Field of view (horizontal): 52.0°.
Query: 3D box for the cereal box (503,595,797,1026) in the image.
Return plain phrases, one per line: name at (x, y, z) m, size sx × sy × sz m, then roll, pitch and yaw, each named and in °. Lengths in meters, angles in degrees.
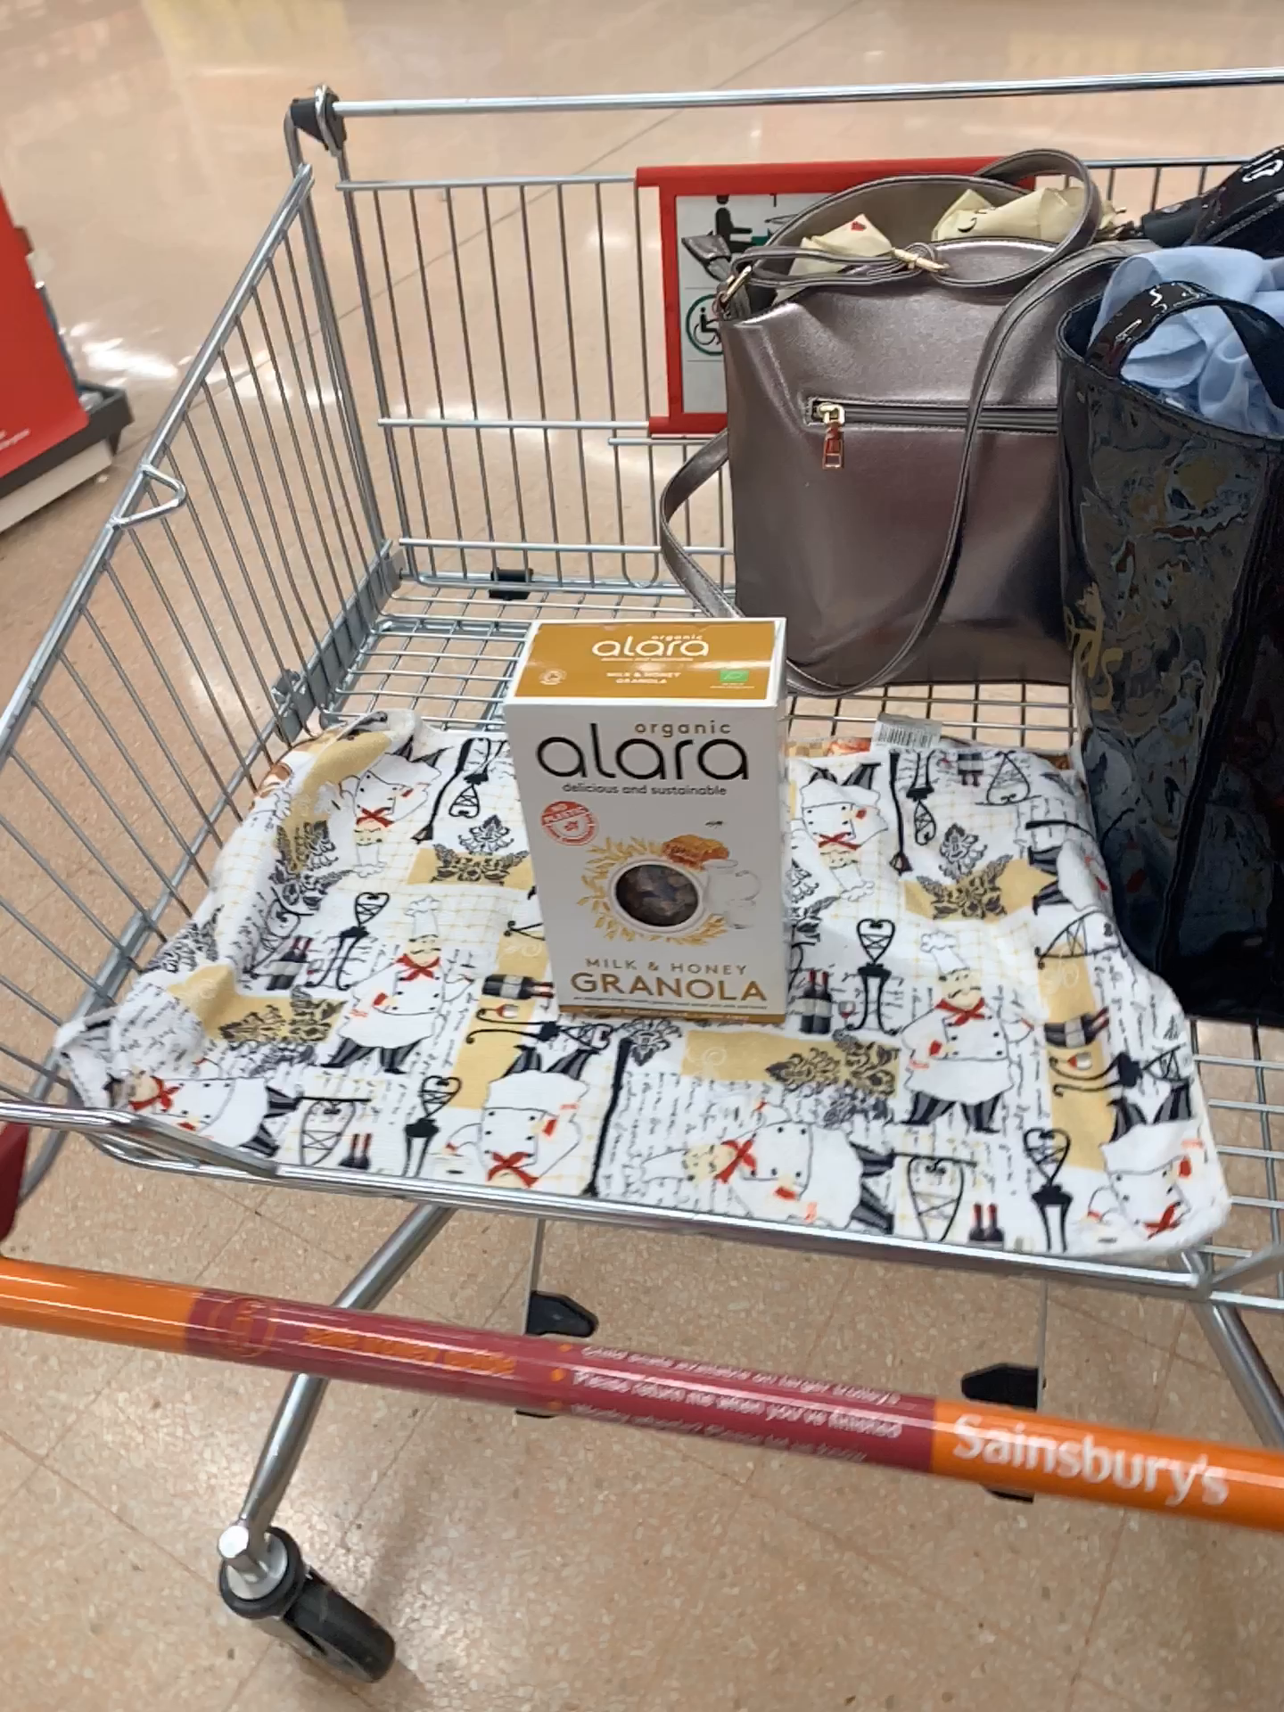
cereal box at (0.013, -0.018, 0.638) m, size 0.120 × 0.198 × 0.081 m, roll 1°, pitch 40°, yaw 8°
